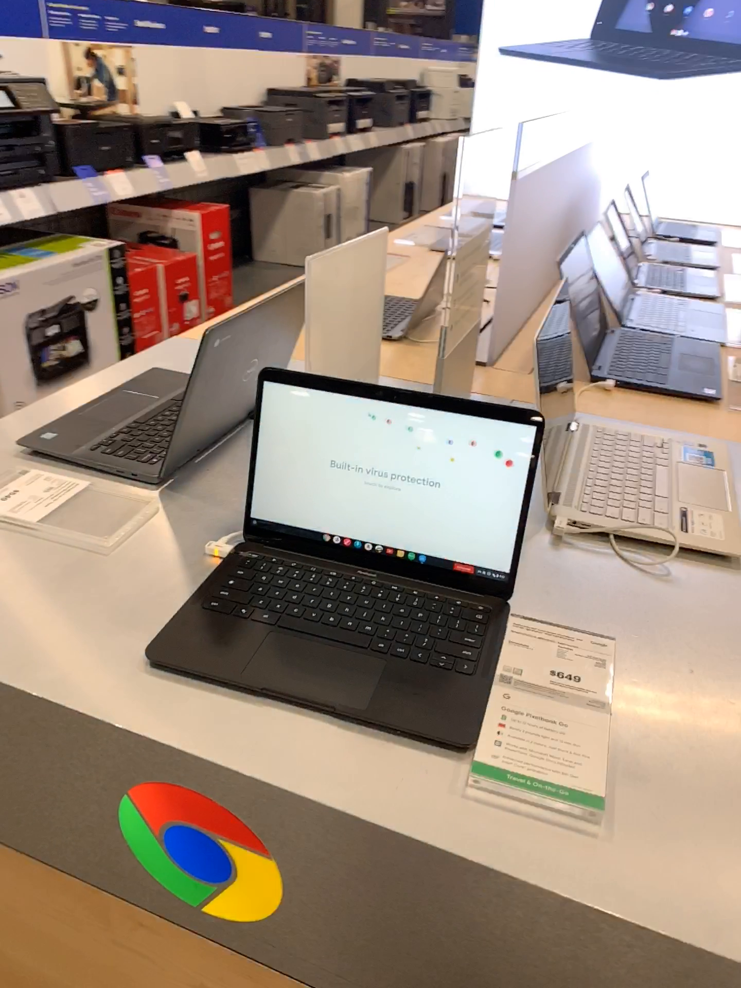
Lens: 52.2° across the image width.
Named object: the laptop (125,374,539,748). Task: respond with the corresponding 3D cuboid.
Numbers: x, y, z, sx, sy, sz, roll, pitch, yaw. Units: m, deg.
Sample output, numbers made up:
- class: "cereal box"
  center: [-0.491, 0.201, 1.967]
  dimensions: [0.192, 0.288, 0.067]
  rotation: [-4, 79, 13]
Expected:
- class: "laptop"
  center: [-0.020, 0.039, 0.707]
  dimensions: [0.294, 0.180, 0.254]
  rotation: [11, 31, 14]
